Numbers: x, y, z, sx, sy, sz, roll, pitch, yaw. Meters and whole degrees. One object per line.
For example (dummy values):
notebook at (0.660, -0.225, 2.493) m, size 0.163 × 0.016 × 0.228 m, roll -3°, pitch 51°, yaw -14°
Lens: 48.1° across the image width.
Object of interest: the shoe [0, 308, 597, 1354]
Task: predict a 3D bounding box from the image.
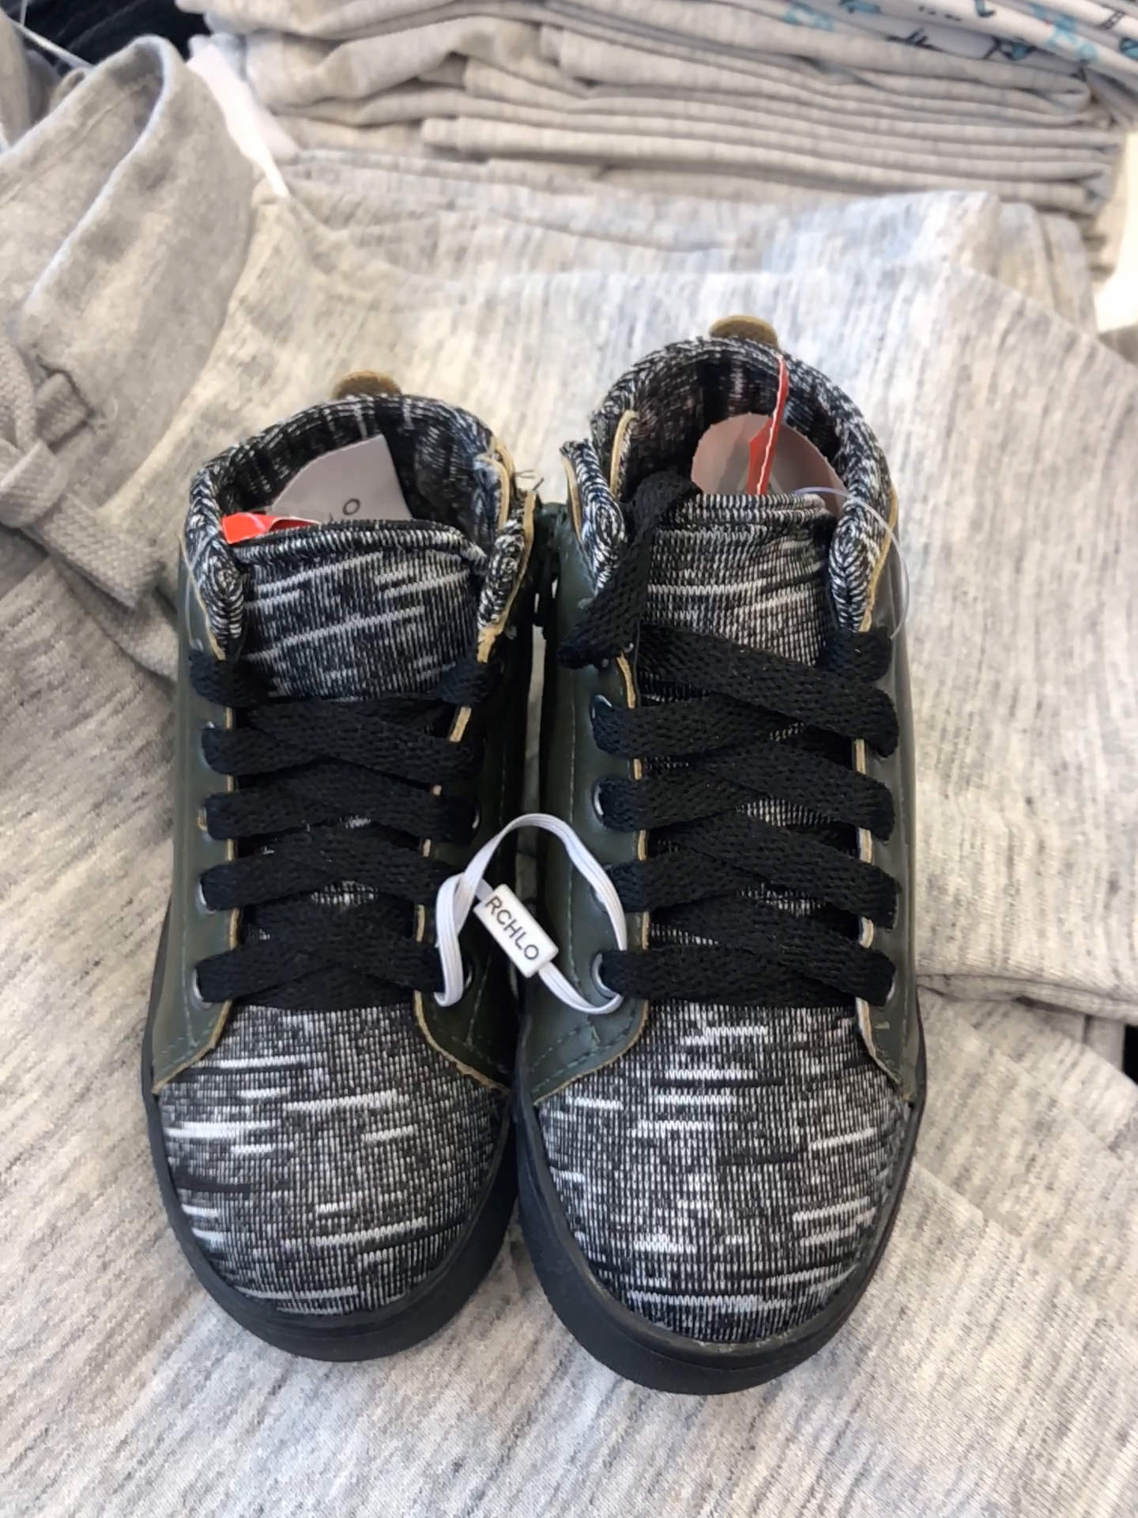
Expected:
shoe at (-0.038, 0.013, 0.226) m, size 0.080 × 0.090 × 0.161 m, roll 2°, pitch 62°, yaw 0°

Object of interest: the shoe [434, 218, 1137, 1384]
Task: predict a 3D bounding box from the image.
shoe at (0.023, 0.006, 0.212) m, size 0.080 × 0.090 × 0.171 m, roll -1°, pitch 61°, yaw -1°
